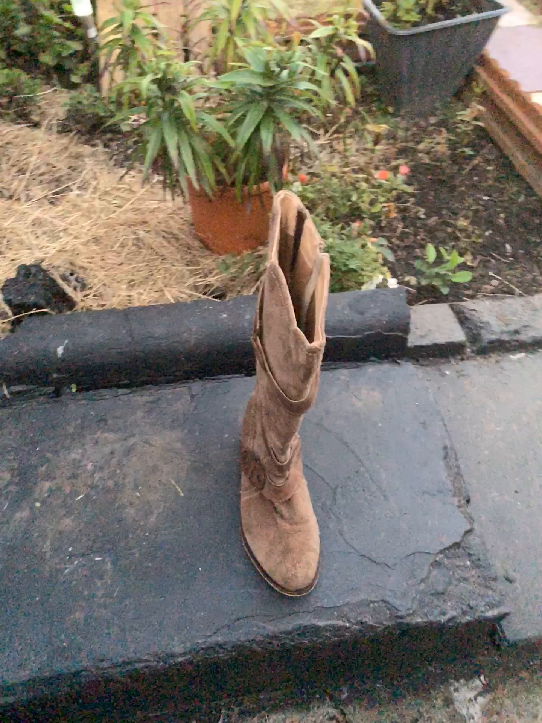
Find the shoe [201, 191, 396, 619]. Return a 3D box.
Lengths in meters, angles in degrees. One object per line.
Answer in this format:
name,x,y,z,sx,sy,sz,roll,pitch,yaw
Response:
shoe,0.005,0.068,0.578,0.100,0.377,0.272,-7,52,-7
